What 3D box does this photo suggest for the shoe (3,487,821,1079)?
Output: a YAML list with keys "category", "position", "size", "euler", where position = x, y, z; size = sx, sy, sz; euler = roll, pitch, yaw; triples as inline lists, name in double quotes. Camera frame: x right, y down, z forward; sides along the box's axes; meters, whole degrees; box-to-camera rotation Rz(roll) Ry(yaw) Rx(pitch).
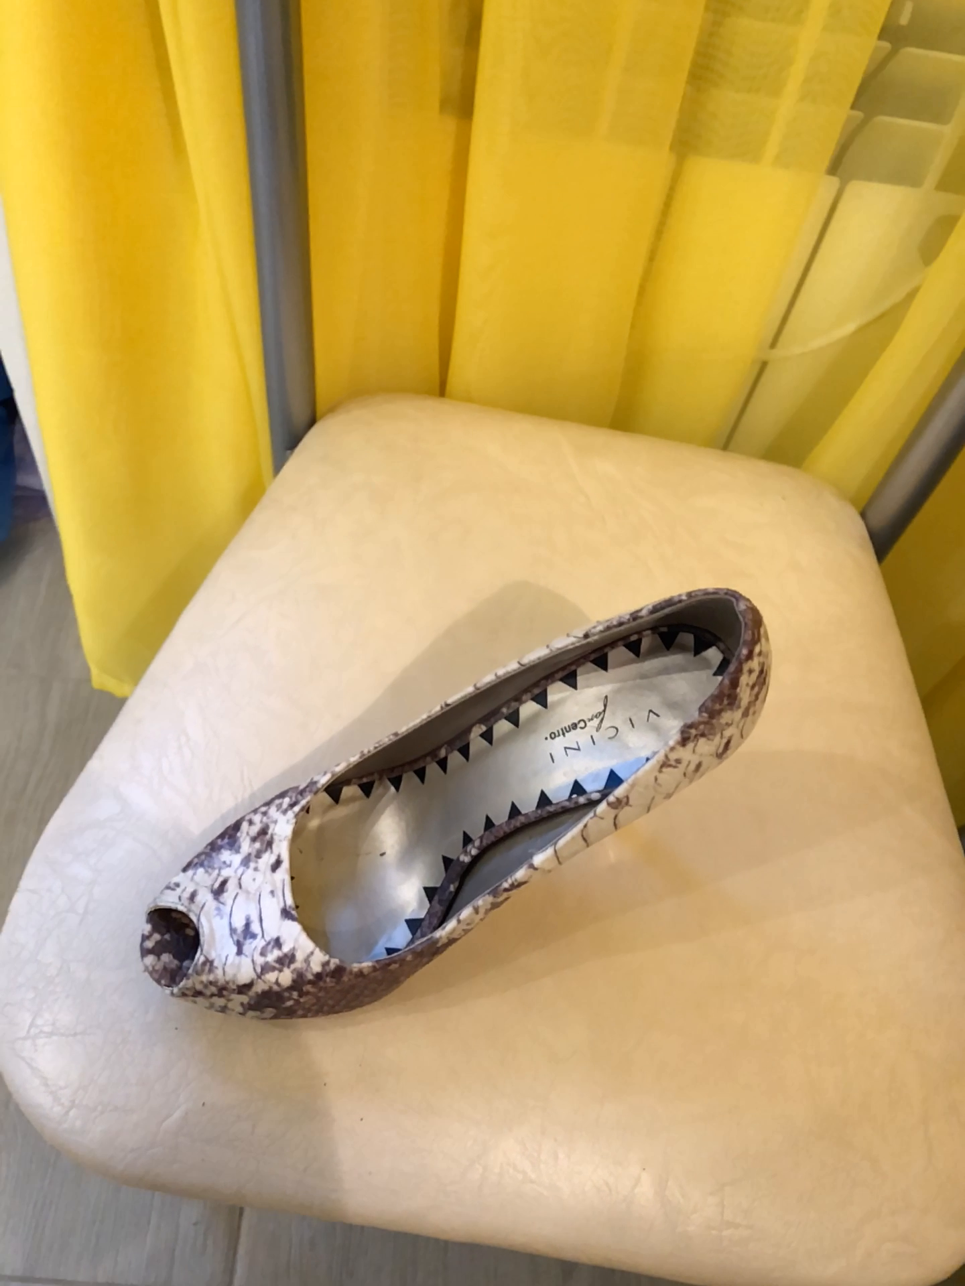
- category: "shoe"
  position: [-0.022, 0.046, 0.335]
  size: [0.200, 0.129, 0.080]
  euler: [-17, 63, -18]
